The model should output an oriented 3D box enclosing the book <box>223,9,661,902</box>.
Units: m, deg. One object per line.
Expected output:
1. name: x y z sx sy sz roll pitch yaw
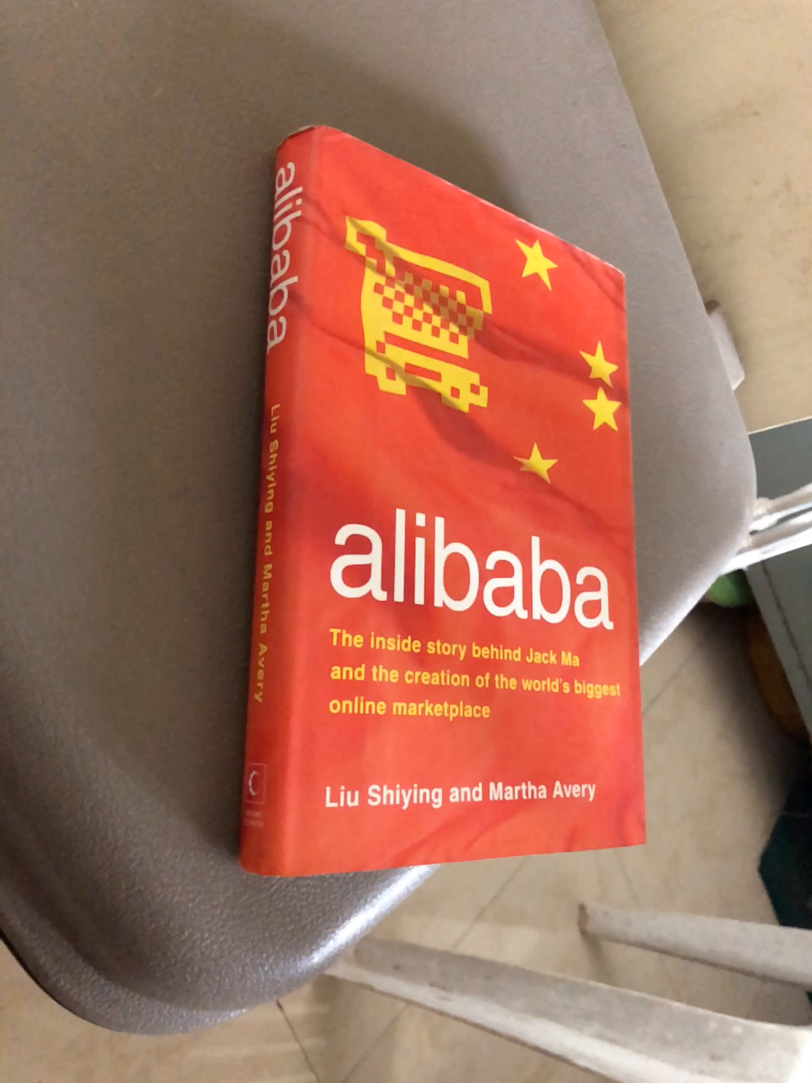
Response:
1. book: 0.019 -0.024 0.321 0.161 0.040 0.260 10 74 -42
